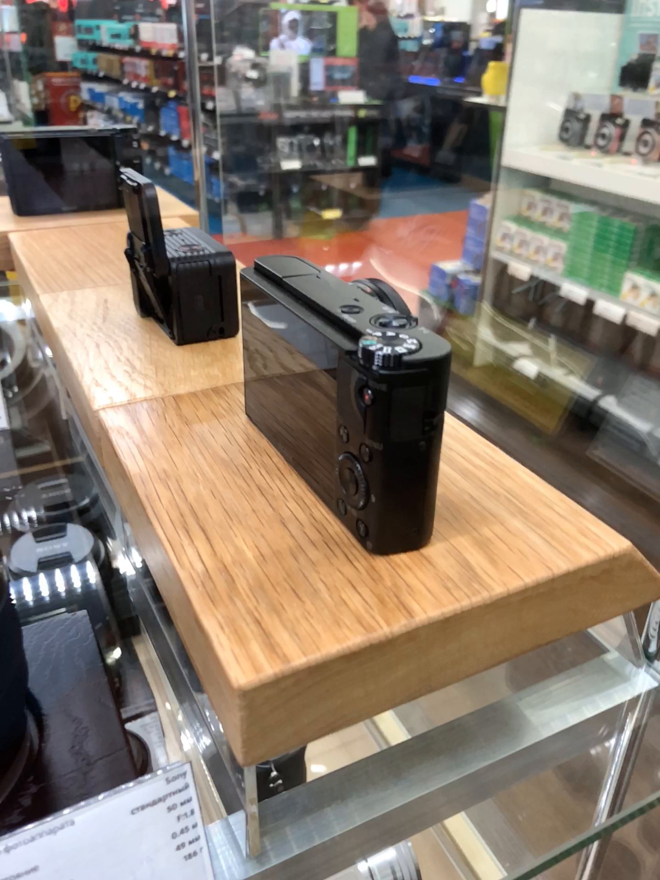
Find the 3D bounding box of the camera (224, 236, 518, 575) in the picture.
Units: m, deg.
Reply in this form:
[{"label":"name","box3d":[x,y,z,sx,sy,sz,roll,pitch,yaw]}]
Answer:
[{"label":"camera","box3d":[0.005,-0.019,0.229,0.037,0.062,0.106,-13,32,-25]}]
